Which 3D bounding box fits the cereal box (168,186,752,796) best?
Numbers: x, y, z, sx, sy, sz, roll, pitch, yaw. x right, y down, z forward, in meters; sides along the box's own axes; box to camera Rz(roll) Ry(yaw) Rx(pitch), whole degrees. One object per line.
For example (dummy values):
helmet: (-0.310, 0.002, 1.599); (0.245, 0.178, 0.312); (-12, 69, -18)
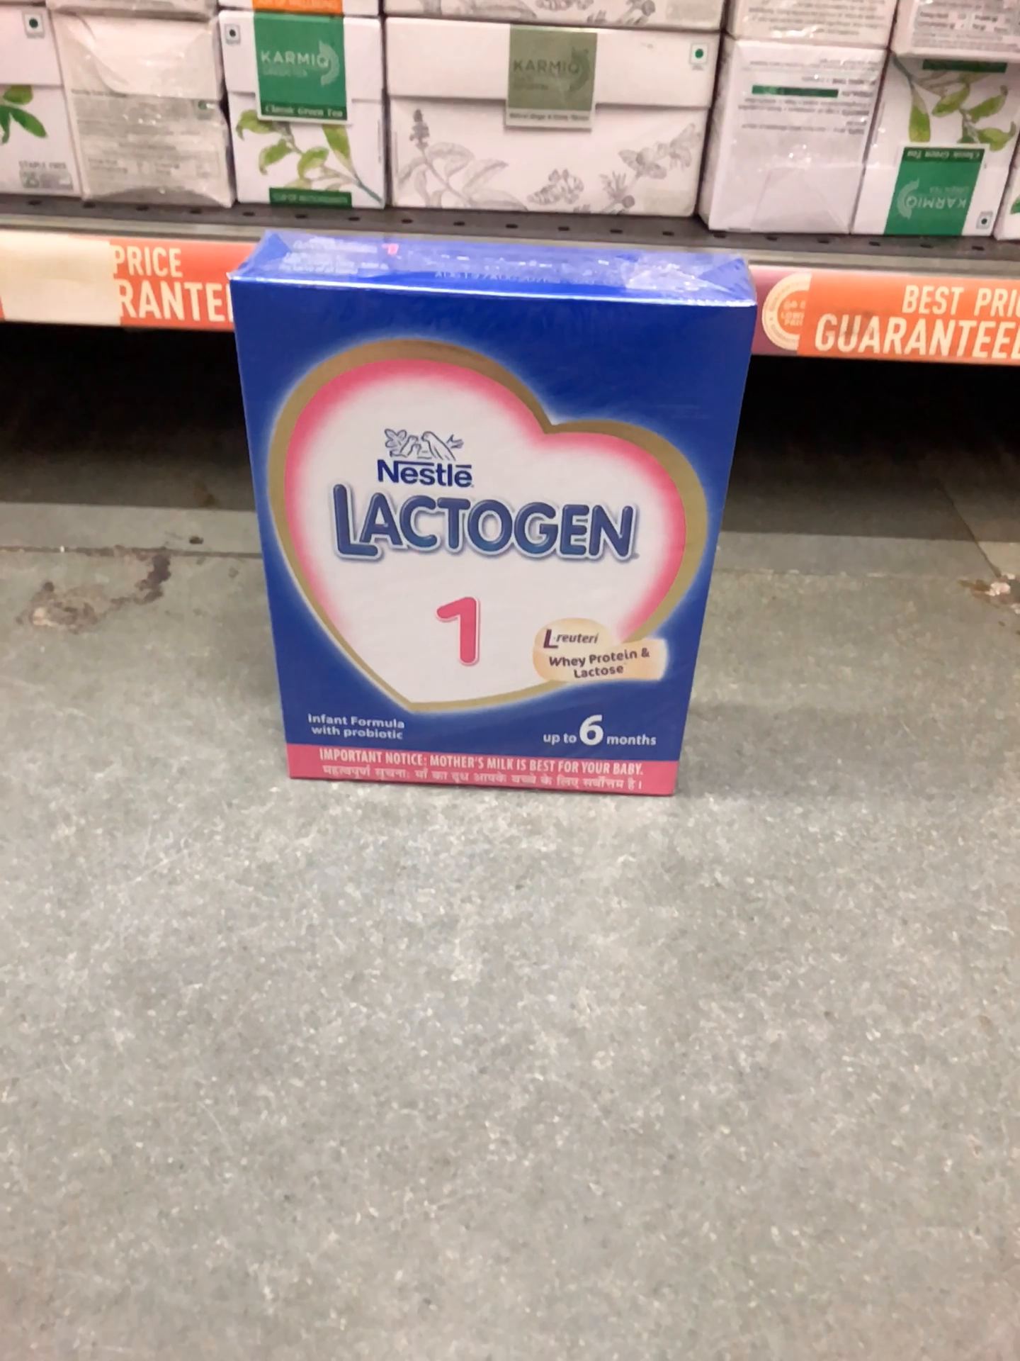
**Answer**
cereal box: (-0.017, -0.054, 0.389); (0.160, 0.199, 0.050); (2, 37, -1)
